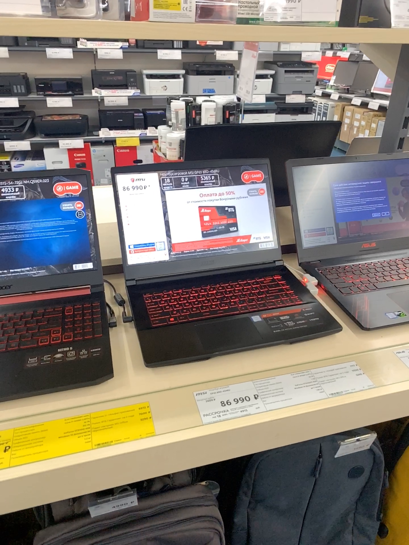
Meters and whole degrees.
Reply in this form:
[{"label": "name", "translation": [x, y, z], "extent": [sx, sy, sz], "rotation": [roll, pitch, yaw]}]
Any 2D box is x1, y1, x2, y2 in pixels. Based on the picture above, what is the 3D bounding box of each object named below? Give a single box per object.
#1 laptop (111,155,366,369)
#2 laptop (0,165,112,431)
[{"label": "laptop", "translation": [0.028, -0.059, 0.795], "extent": [0.350, 0.204, 0.371], "rotation": [-8, 32, -16]}, {"label": "laptop", "translation": [-0.338, -0.006, 0.677], "extent": [0.334, 0.211, 0.373], "rotation": [-7, 31, -14]}]
